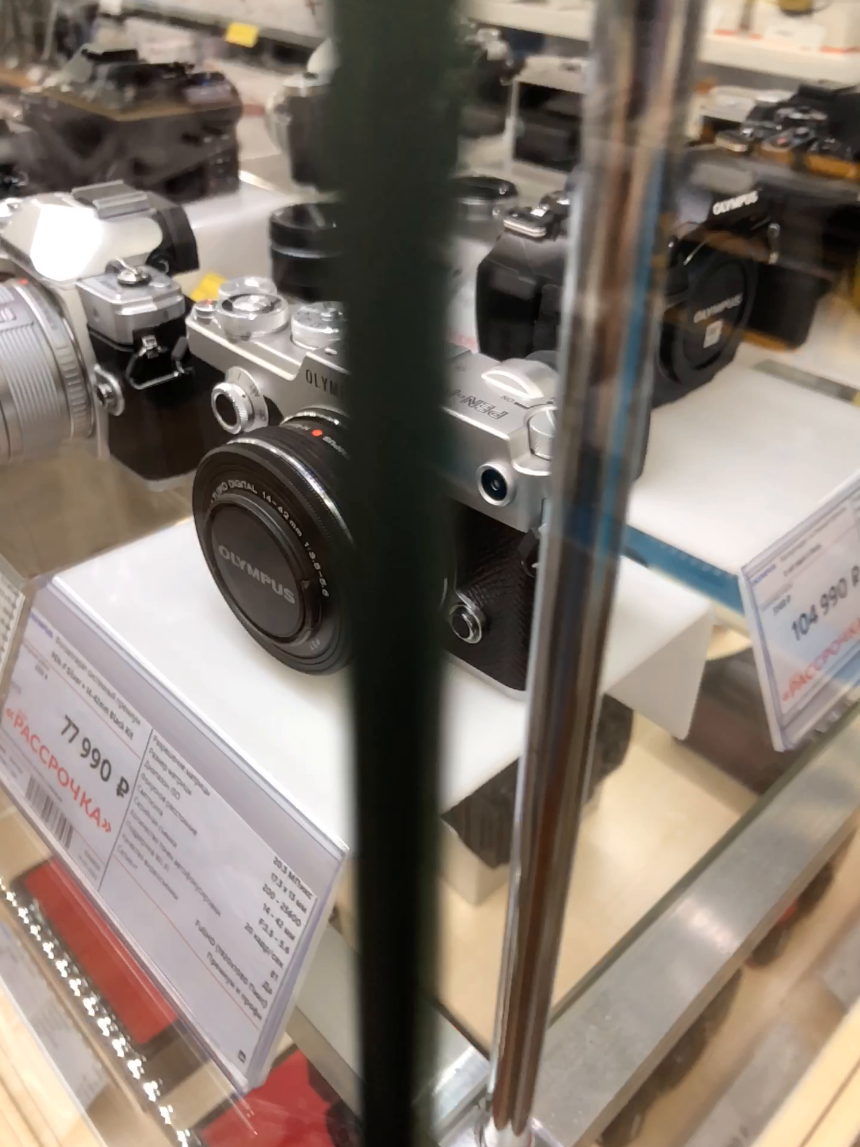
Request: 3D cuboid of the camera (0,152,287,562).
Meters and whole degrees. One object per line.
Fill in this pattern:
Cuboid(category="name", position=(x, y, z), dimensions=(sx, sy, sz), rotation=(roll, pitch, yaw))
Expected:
Cuboid(category="camera", position=(-0.127, -0.081, 0.318), dimensions=(0.099, 0.075, 0.127), rotation=(-28, 45, -35))

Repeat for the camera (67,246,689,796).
Cuboid(category="camera", position=(-0.017, -0.024, 0.241), dimensions=(0.127, 0.070, 0.076), rotation=(31, 44, 34))

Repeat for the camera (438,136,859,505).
Cuboid(category="camera", position=(0.078, -0.094, 0.330), dimensions=(0.128, 0.075, 0.084), rotation=(-29, 46, -36))
